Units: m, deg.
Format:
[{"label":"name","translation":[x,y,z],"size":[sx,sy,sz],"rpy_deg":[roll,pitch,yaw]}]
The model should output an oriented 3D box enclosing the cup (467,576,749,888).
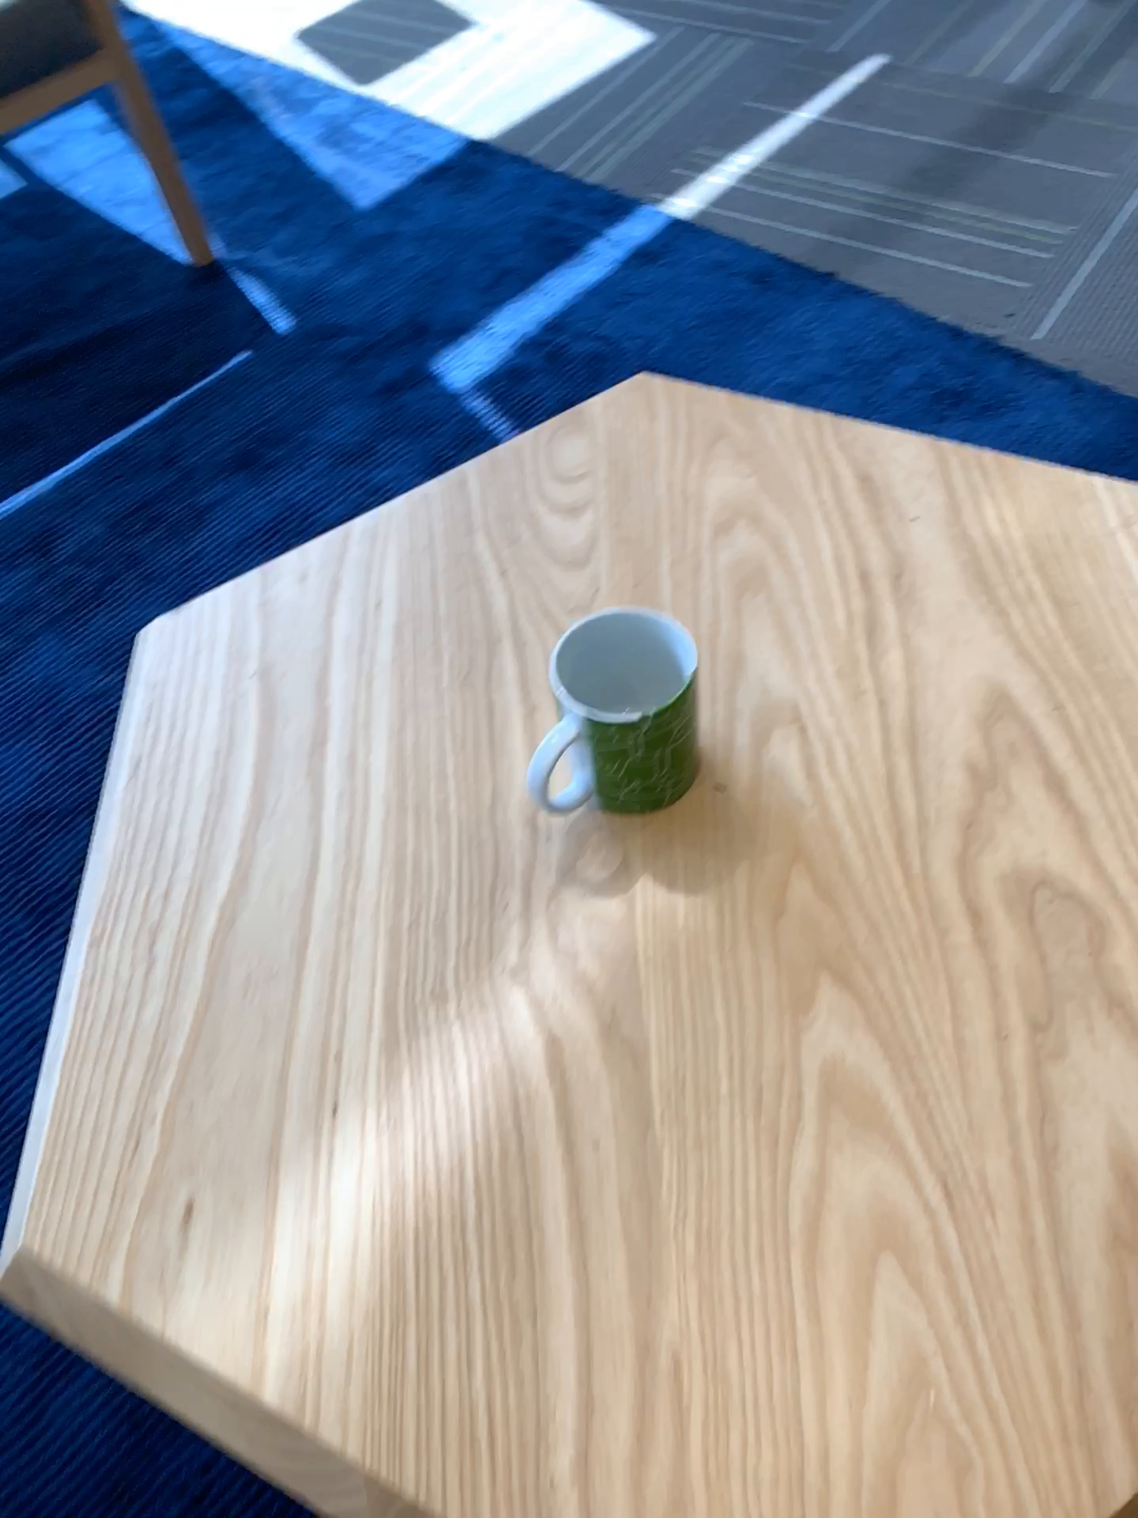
[{"label":"cup","translation":[0.025,-0.016,0.649],"size":[0.120,0.090,0.090],"rpy_deg":[-40,59,-19]}]
